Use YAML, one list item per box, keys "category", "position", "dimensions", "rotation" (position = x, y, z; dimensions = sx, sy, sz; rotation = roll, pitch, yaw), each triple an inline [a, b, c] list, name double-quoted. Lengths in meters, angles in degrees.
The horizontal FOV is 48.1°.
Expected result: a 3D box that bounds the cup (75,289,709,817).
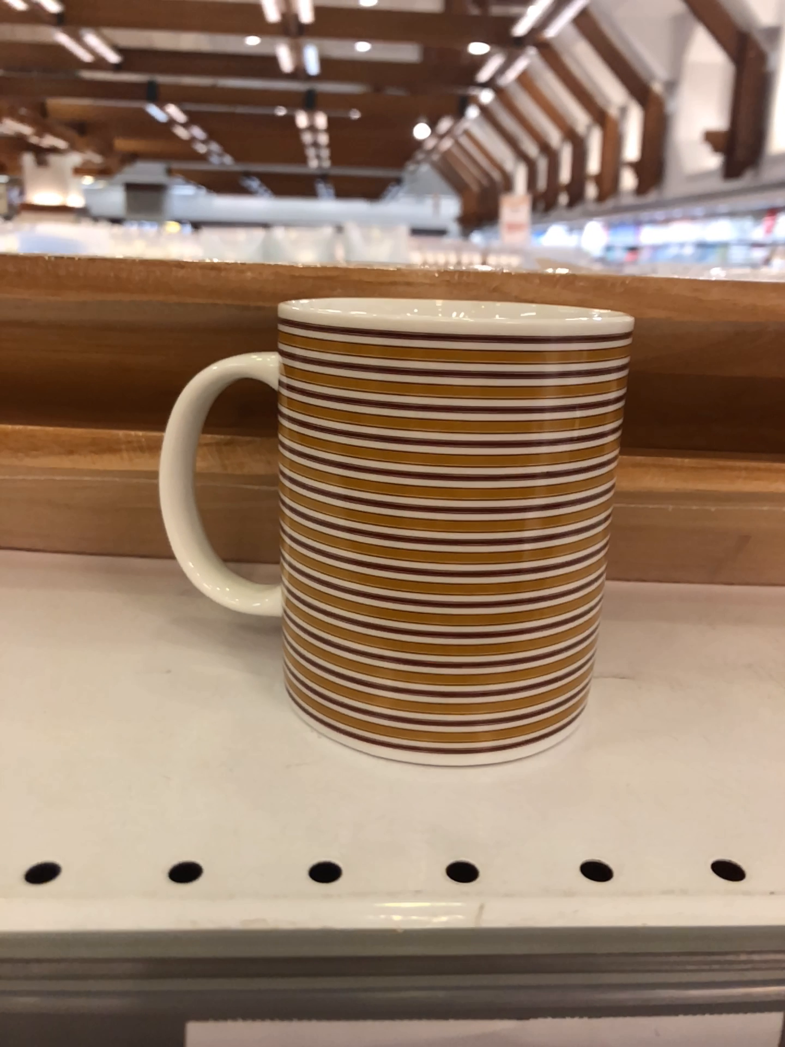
- category: "cup"
  position: [0.001, -0.009, 0.219]
  dimensions: [0.120, 0.090, 0.090]
  rotation: [12, 19, 30]
